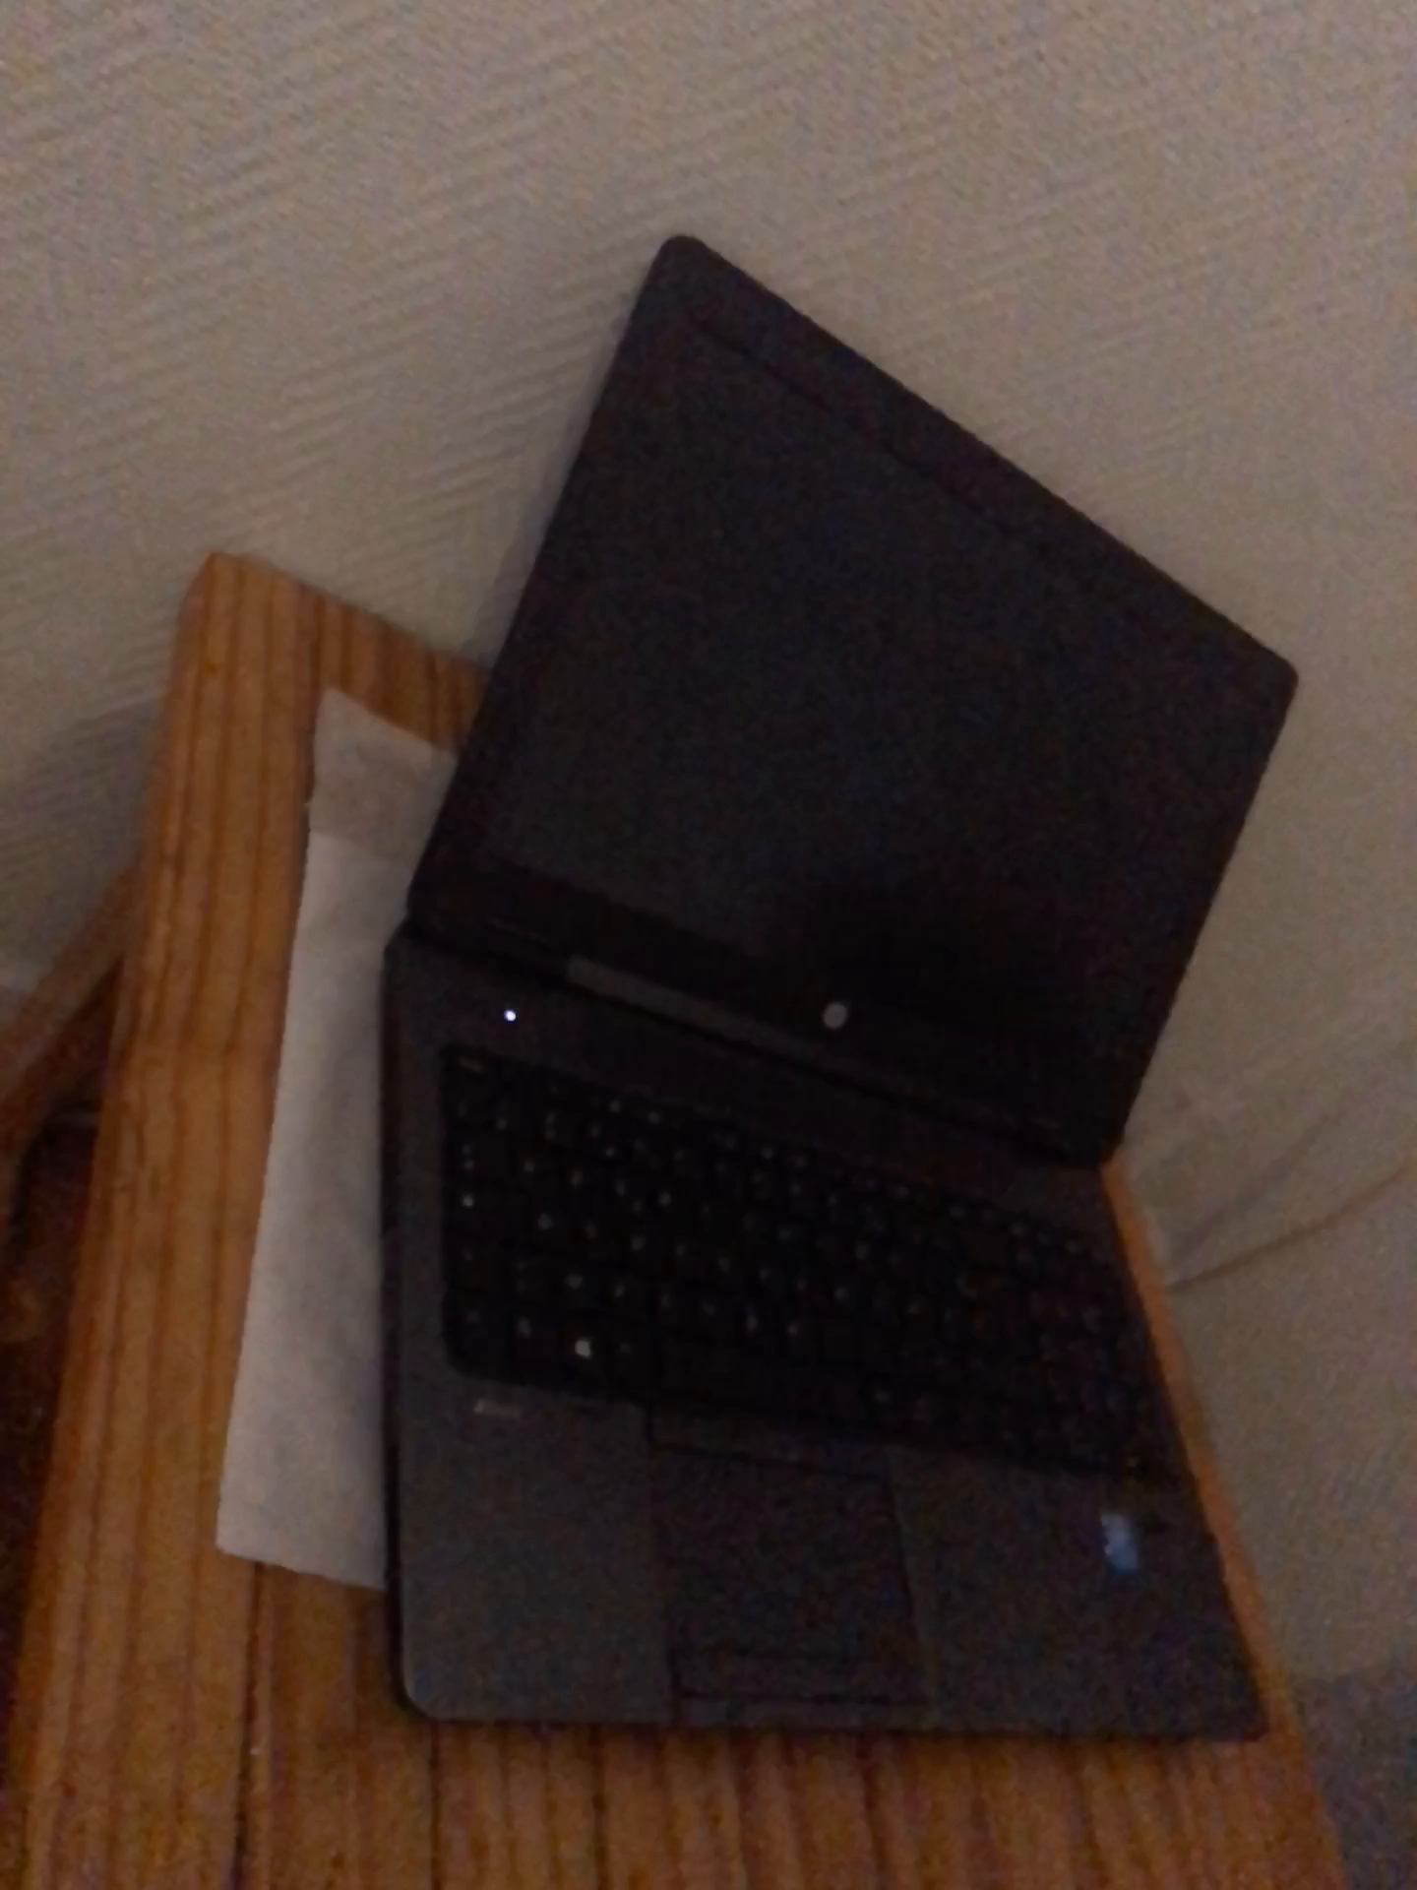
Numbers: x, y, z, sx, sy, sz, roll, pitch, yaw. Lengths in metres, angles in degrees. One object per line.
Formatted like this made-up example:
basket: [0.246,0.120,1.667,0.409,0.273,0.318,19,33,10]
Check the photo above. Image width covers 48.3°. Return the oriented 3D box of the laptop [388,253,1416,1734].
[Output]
laptop: [0.104,0.037,0.578,0.383,0.195,0.410,22,43,-35]
